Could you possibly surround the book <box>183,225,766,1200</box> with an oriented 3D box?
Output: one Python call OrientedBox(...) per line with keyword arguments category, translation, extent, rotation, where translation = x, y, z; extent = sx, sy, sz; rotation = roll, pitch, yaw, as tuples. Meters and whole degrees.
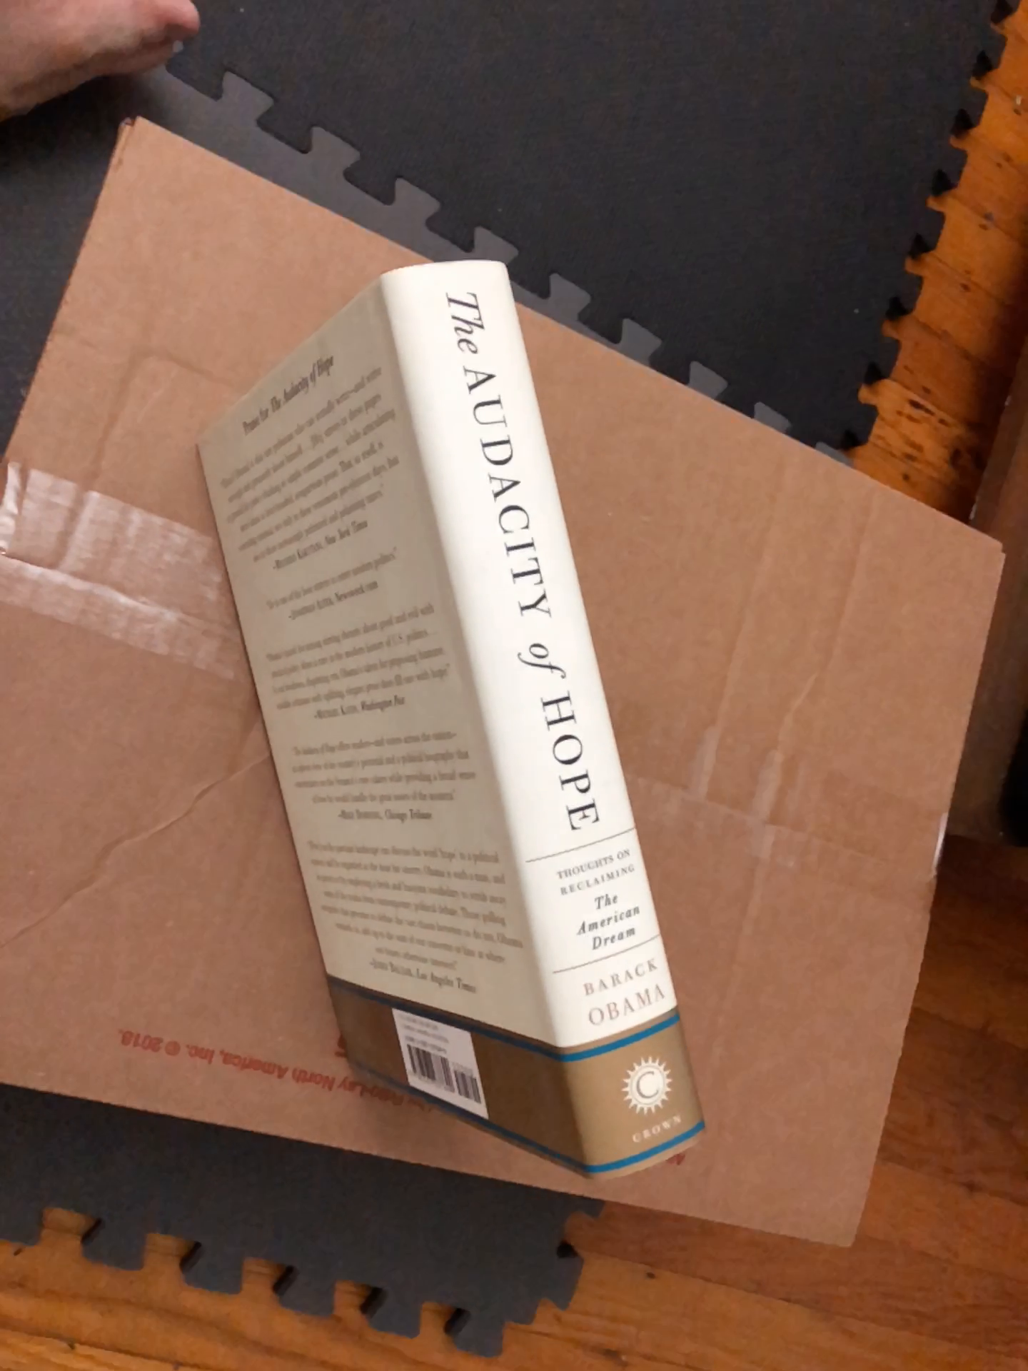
OrientedBox(category="book", translation=(-0.025, 0.009, 0.371), extent=(0.060, 0.170, 0.250), rotation=(-15, 94, -33))
